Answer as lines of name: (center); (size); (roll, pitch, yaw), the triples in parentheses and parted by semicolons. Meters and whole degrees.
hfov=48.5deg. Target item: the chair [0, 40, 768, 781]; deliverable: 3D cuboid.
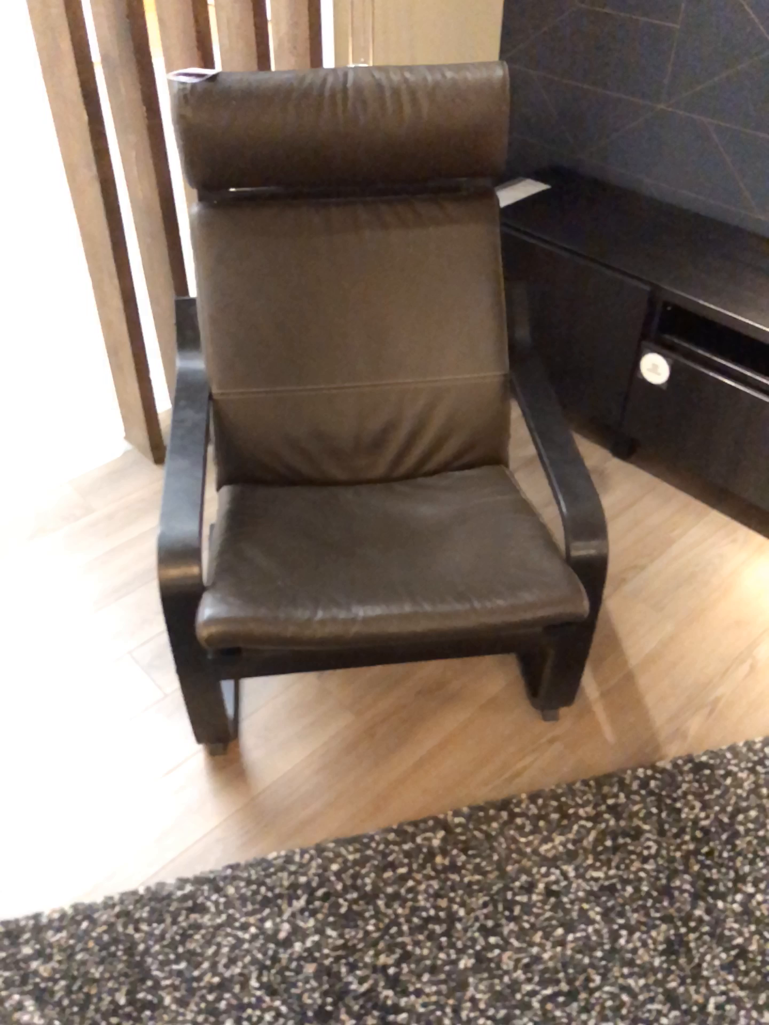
chair: (-0.047, -0.175, 1.384); (0.780, 0.876, 0.733); (-5, 42, -6)
